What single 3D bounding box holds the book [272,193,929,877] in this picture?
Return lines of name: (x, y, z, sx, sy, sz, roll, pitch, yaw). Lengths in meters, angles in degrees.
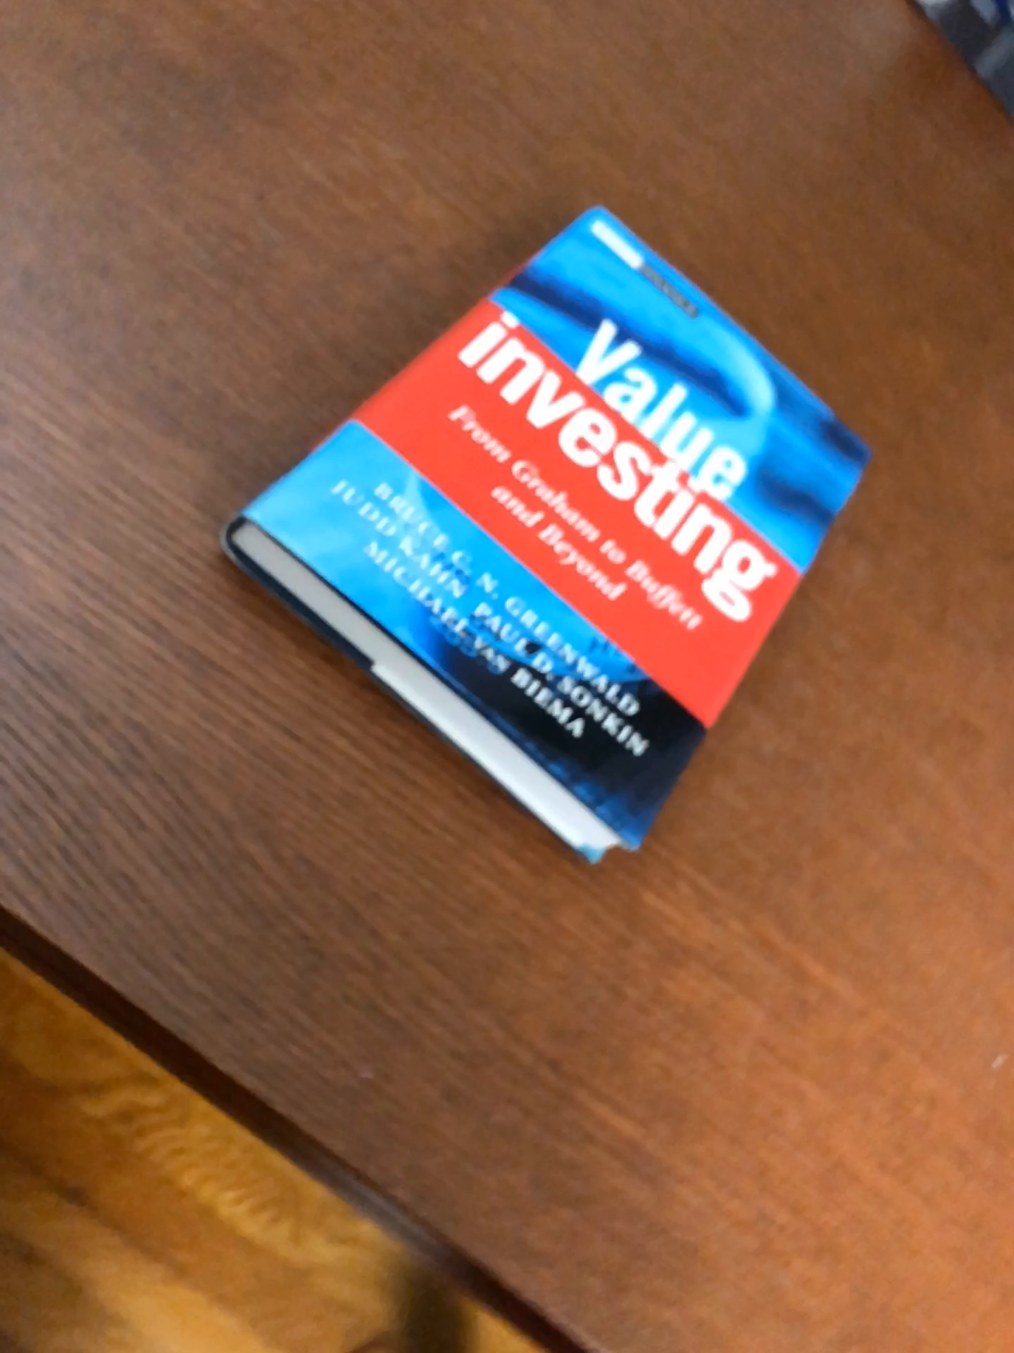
book: (0.053, -0.069, 0.417, 0.170, 0.020, 0.231, 41, 53, -4)
